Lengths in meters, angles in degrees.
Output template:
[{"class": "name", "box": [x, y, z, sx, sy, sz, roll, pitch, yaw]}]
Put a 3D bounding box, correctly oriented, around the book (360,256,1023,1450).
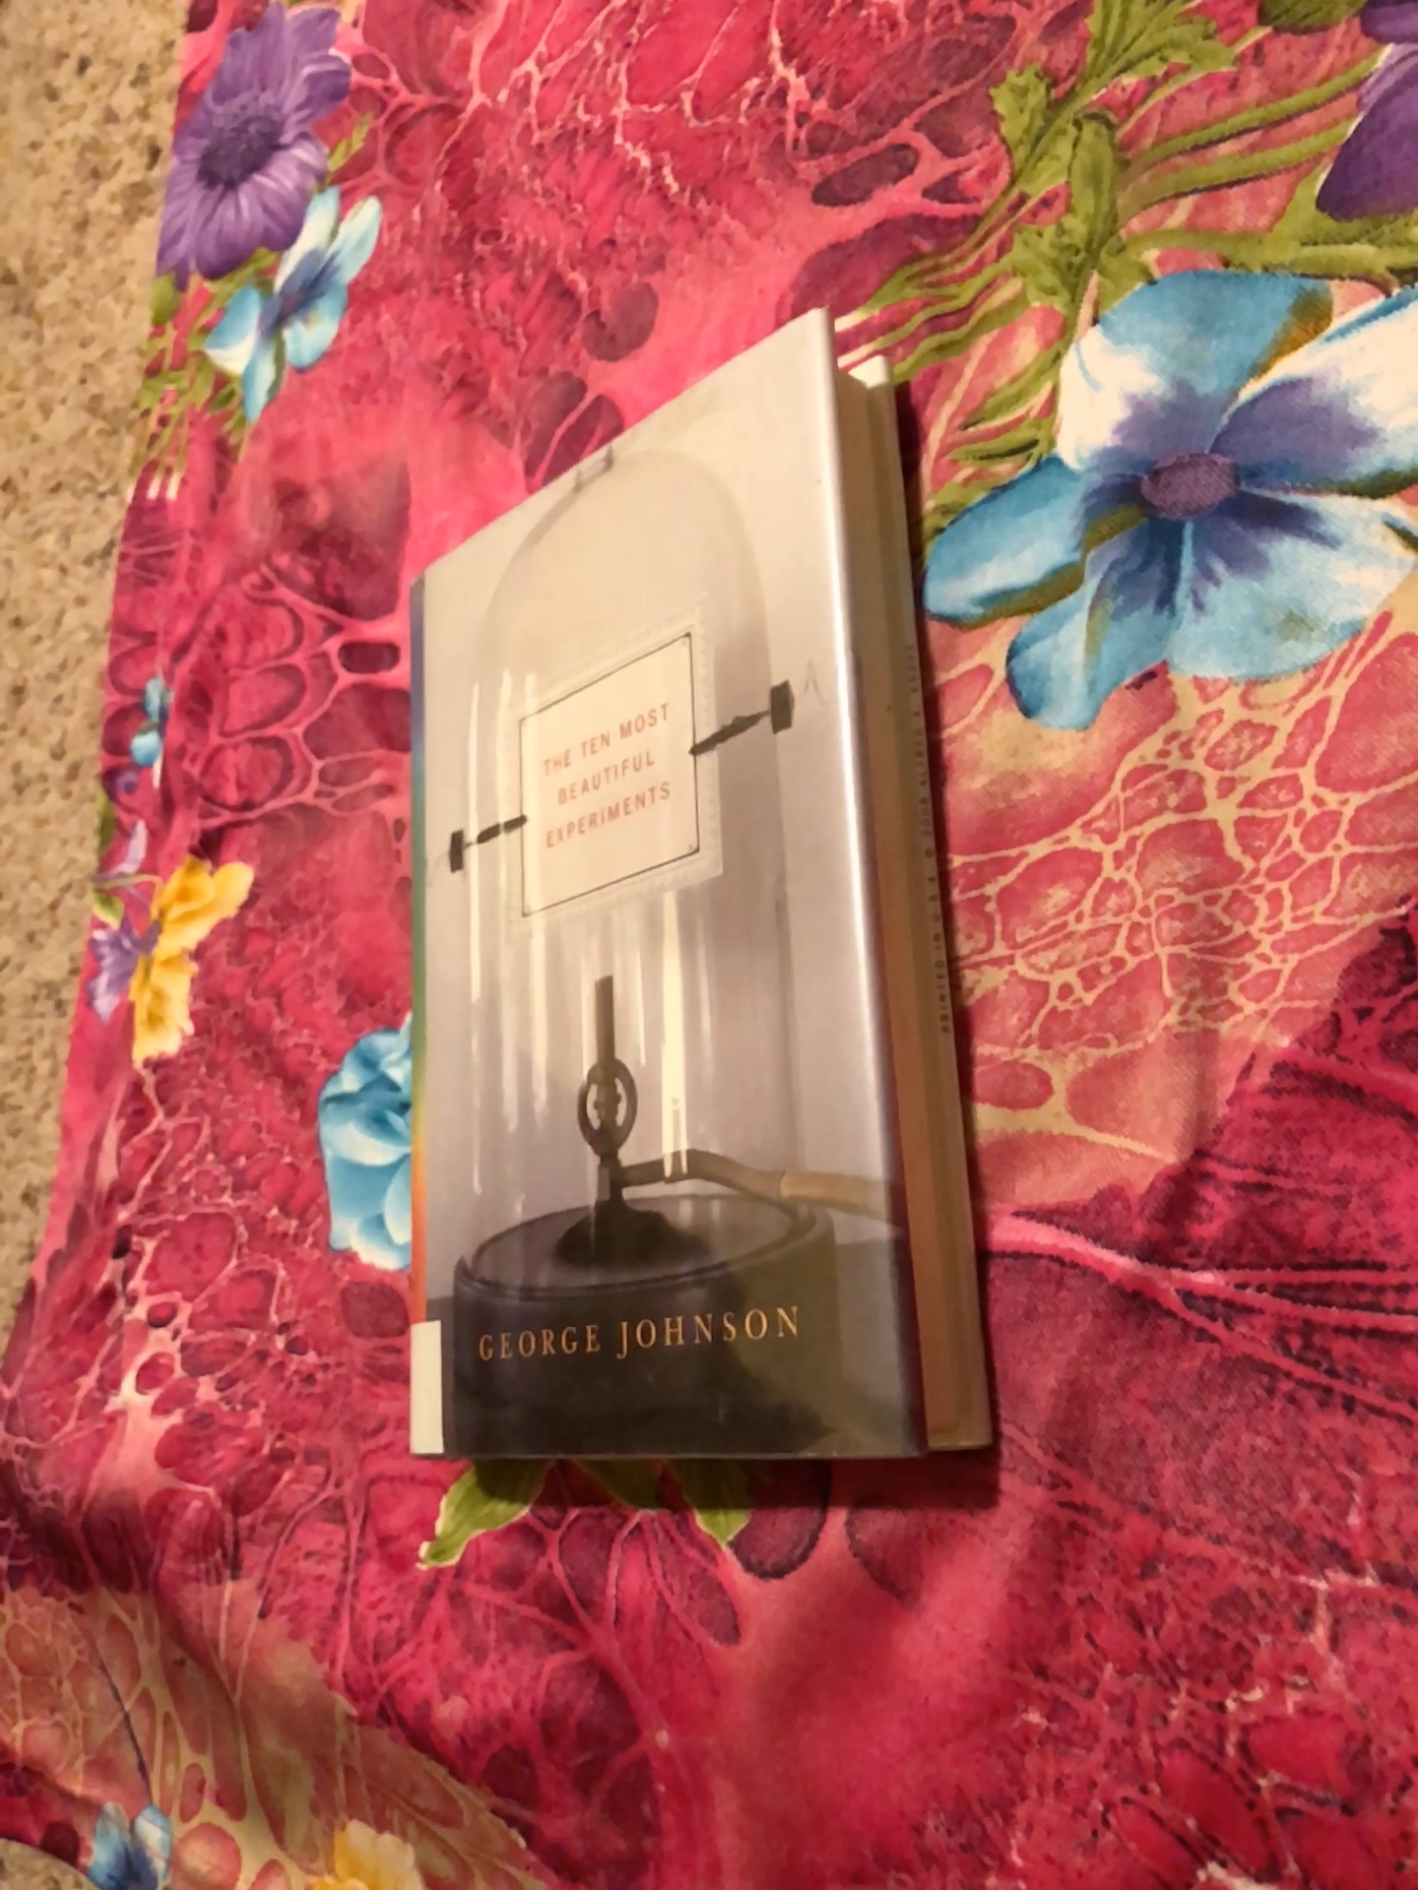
[{"class": "book", "box": [-0.015, -0.007, 0.309, 0.141, 0.030, 0.200, -18, 67, 43]}]
